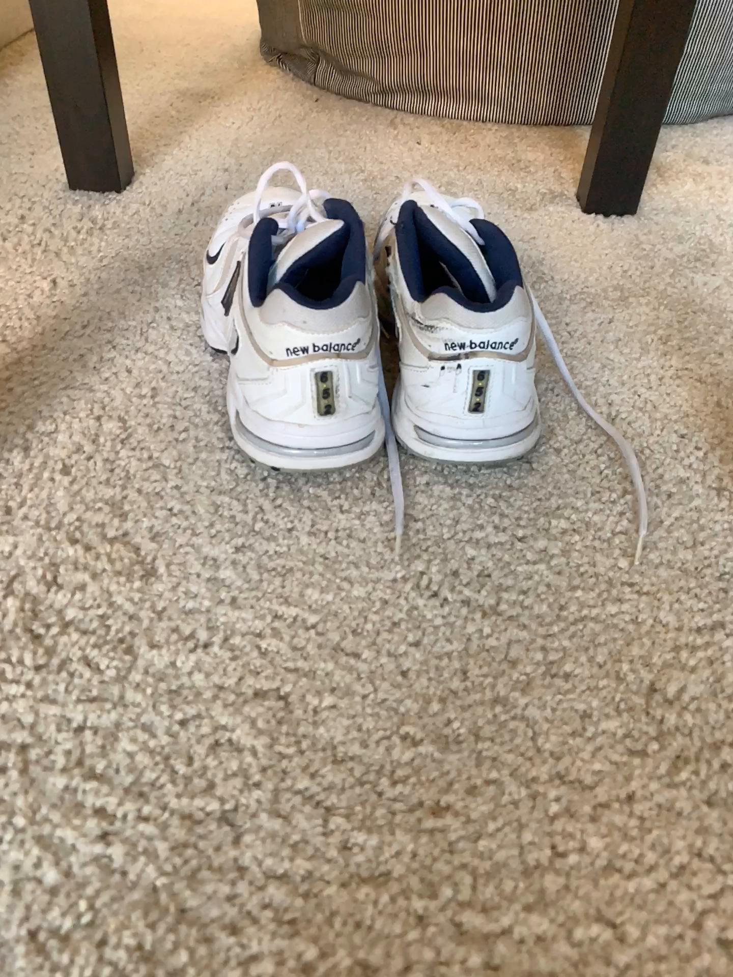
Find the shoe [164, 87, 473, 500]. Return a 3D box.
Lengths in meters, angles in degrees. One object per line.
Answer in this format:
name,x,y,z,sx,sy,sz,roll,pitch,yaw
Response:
shoe,-0.048,-0.138,0.443,0.110,0.099,0.302,-8,43,-12

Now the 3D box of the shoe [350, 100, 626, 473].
shoe,0.051,-0.147,0.476,0.110,0.099,0.302,0,42,-4
